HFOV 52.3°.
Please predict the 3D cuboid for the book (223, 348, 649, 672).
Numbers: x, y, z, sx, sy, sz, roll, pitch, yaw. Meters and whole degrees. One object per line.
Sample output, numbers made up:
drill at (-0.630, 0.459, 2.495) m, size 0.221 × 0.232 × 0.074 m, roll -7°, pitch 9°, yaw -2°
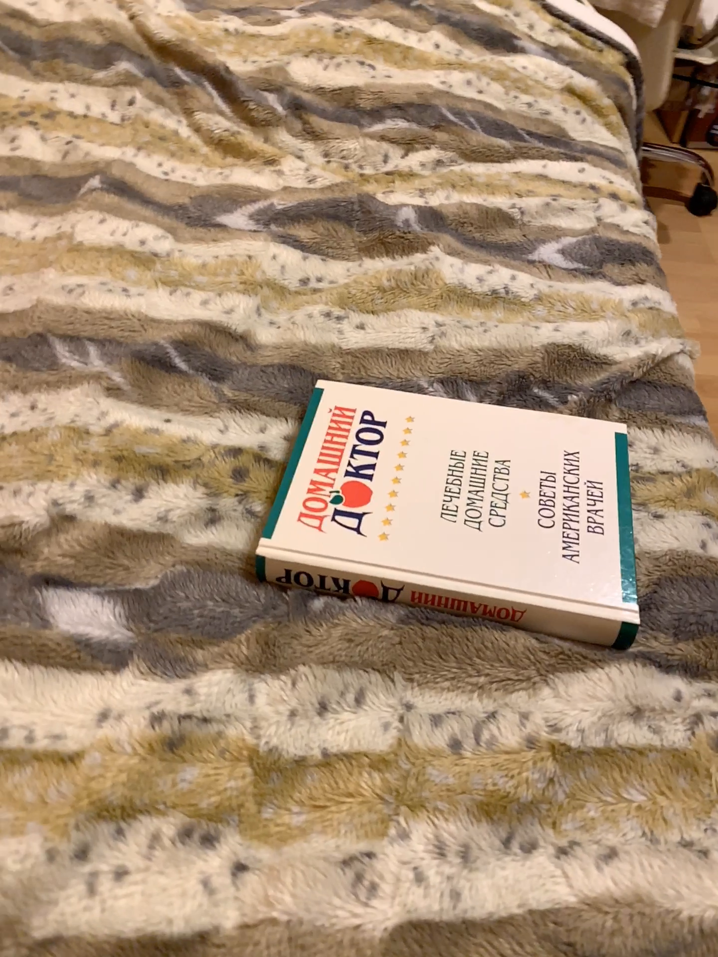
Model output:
book at (0.057, 0.008, 0.485) m, size 0.240 × 0.040 × 0.192 m, roll 10°, pitch 49°, yaw 5°
